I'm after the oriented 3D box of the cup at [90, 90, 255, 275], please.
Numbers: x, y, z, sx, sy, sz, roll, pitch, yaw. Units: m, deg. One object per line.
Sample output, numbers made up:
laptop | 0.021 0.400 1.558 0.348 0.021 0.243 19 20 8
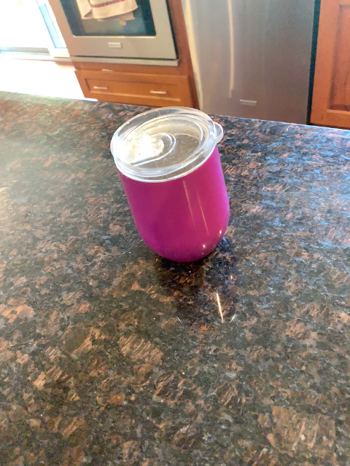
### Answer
cup | 0.010 -0.041 0.293 0.090 0.109 0.090 -8 47 8
